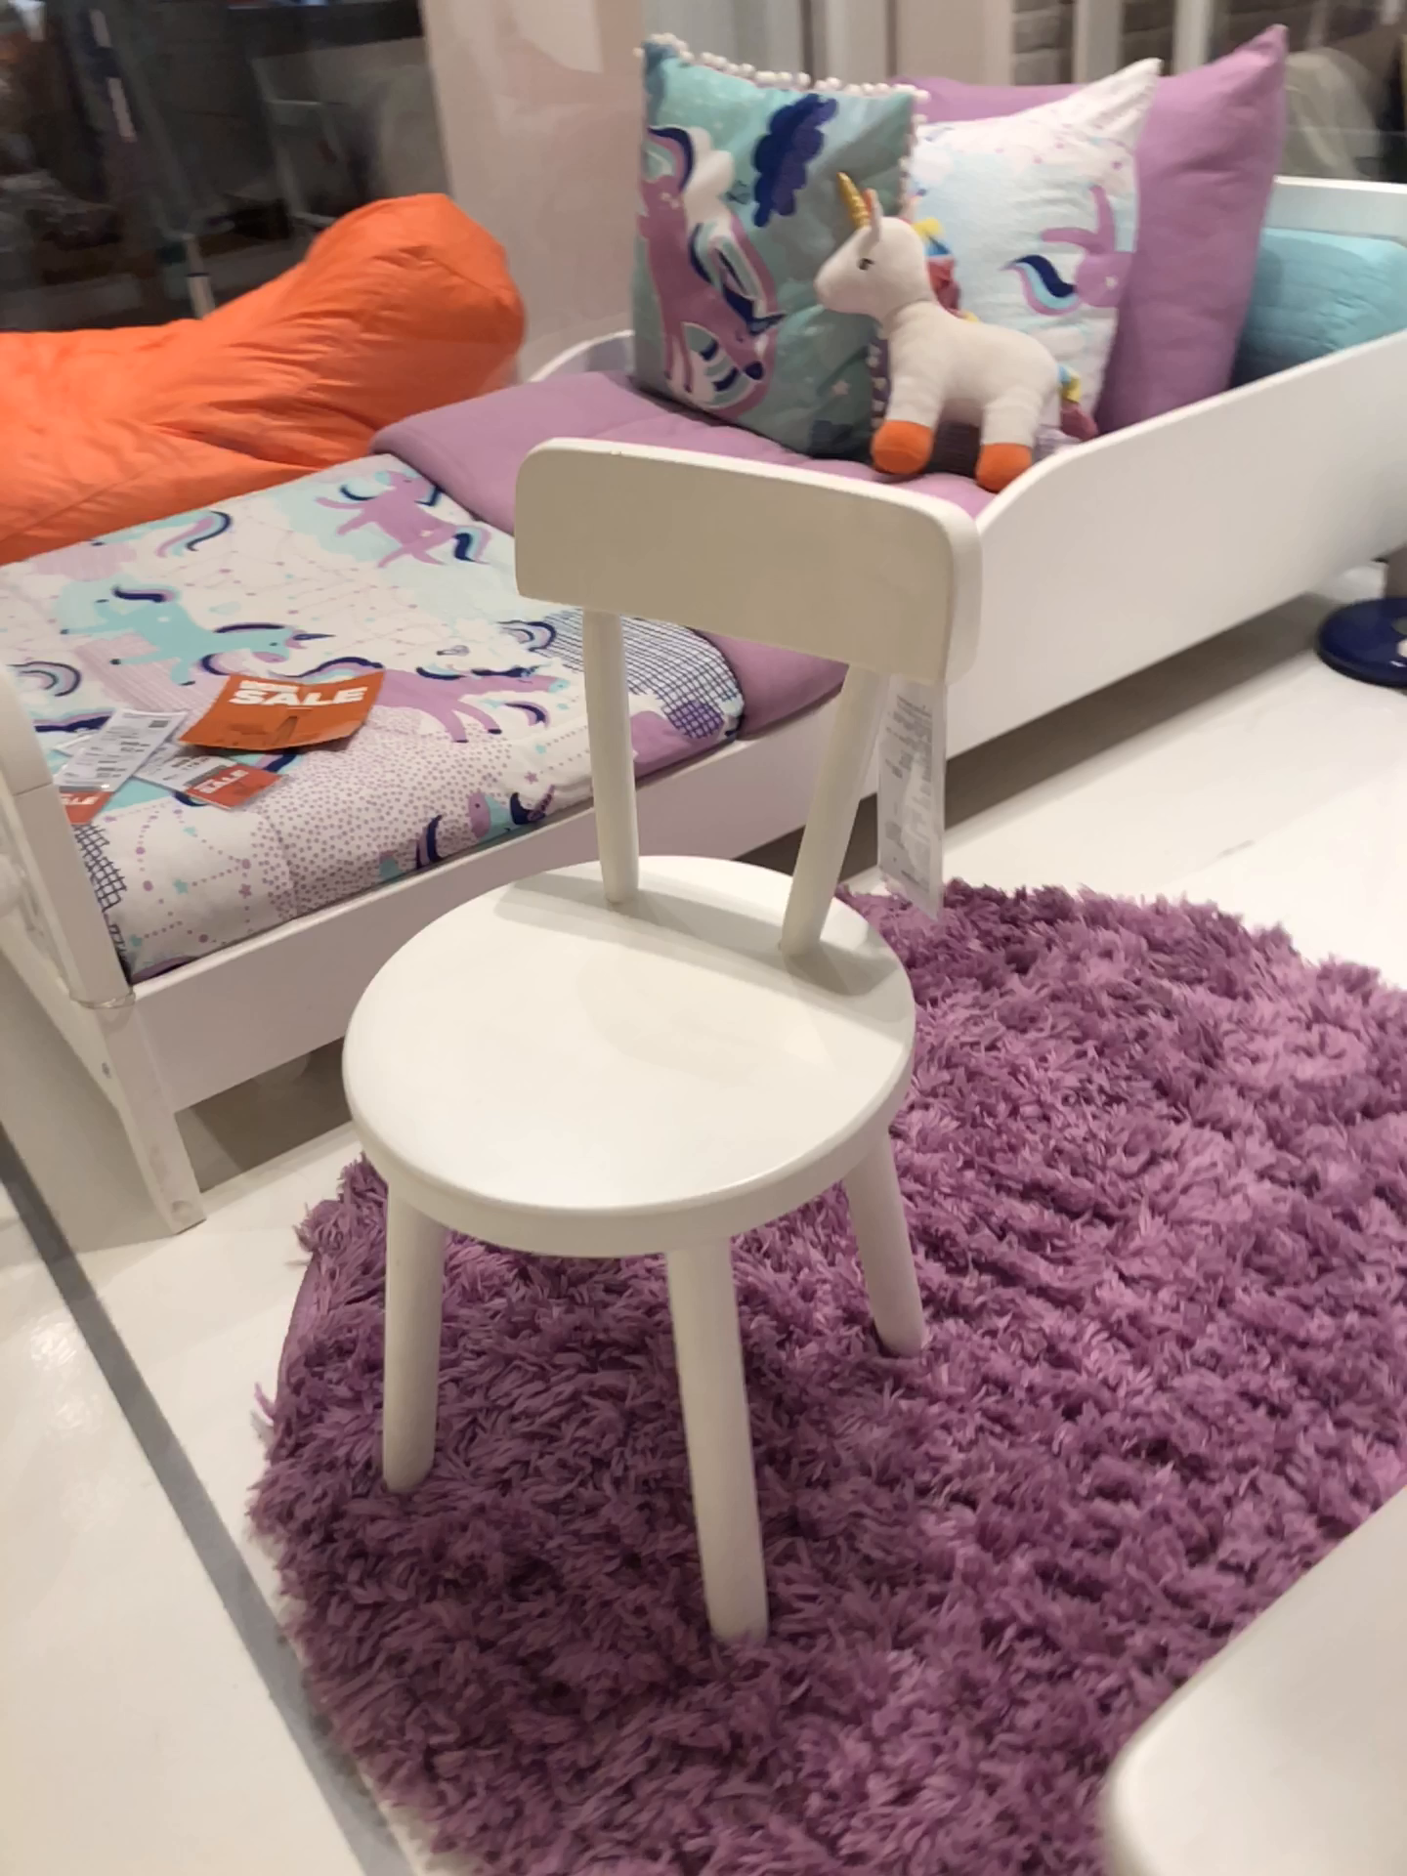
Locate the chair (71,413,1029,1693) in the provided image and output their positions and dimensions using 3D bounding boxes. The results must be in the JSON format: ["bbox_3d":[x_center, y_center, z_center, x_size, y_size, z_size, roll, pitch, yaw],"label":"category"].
[{"bbox_3d":[-0.036,0.053,0.864,0.321,0.575,0.312,15,38,28],"label":"chair"}]
